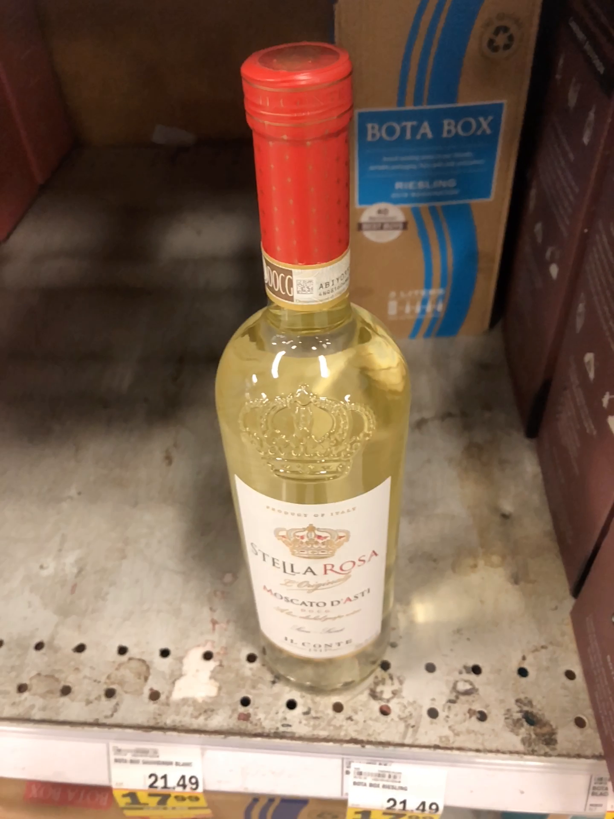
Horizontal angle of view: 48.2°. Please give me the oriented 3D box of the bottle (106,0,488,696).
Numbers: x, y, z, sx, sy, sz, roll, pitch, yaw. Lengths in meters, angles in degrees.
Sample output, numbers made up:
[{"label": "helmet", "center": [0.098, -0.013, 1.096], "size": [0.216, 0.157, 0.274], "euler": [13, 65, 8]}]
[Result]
[{"label": "bottle", "center": [0.006, 0.022, 0.284], "size": [0.080, 0.320, 0.070], "euler": [-2, 47, 2]}]
